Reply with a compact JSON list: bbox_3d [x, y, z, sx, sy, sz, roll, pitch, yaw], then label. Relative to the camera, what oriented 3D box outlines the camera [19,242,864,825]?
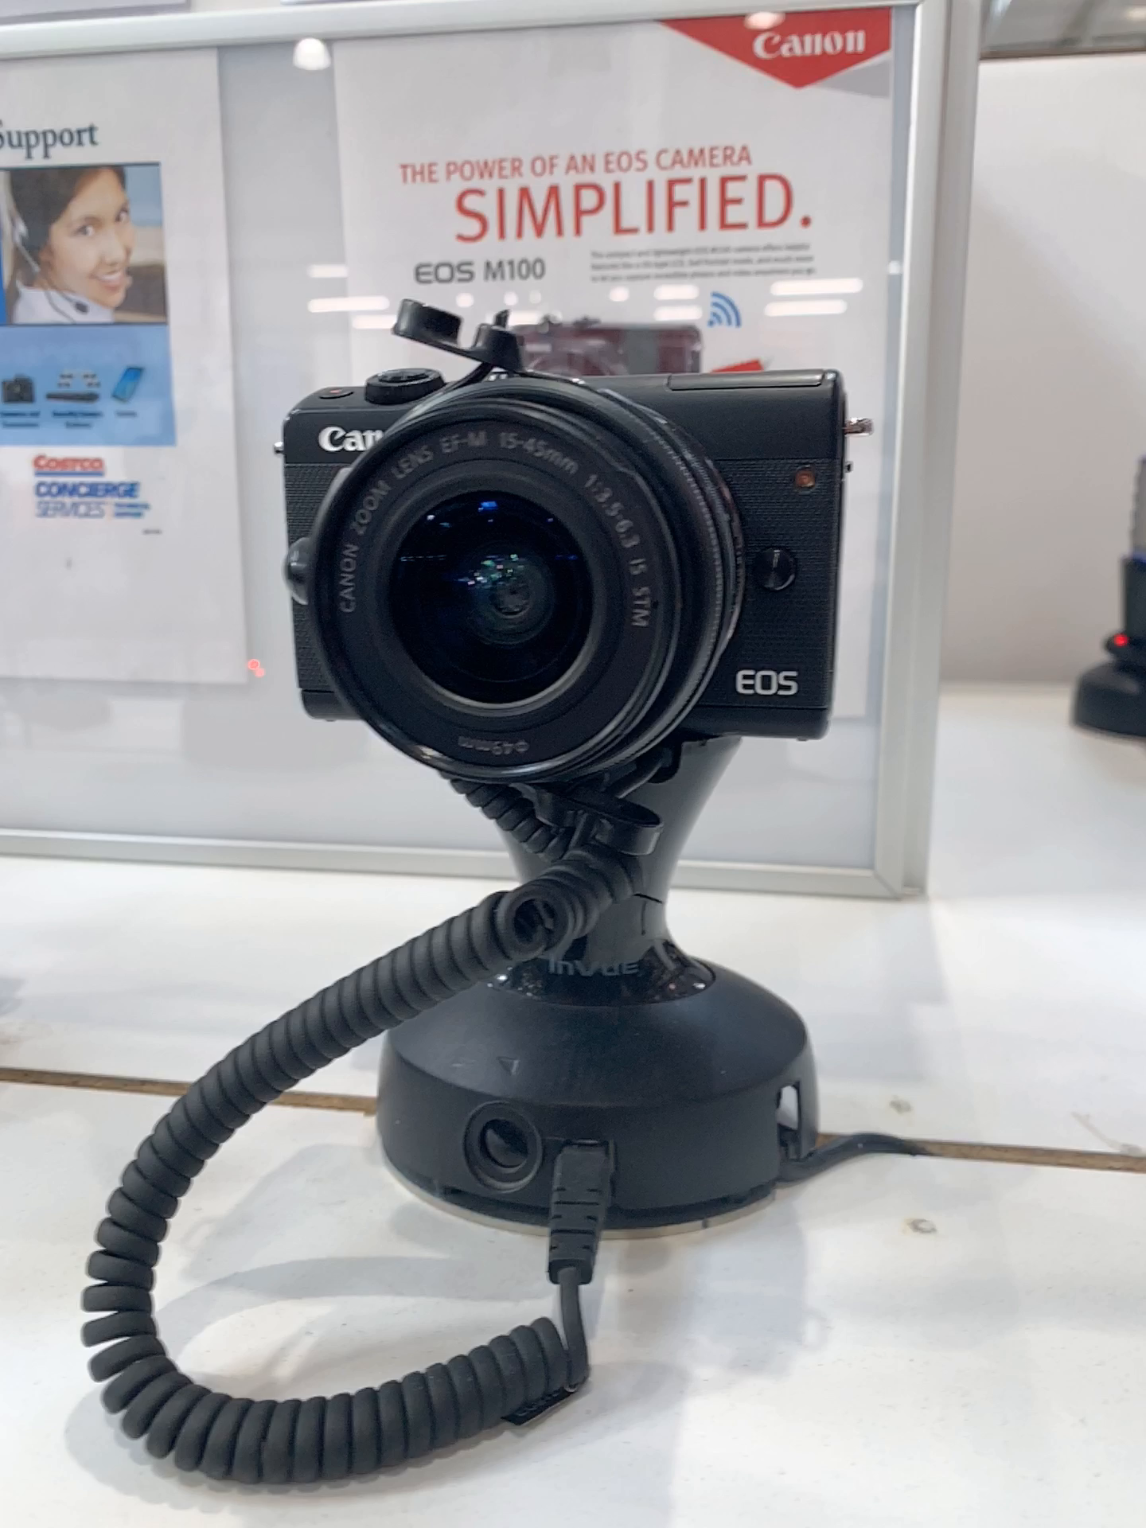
[{"bbox_3d":[-0.010,-0.035,0.196,0.110,0.066,0.093,3,9,13],"label":"camera"}]
